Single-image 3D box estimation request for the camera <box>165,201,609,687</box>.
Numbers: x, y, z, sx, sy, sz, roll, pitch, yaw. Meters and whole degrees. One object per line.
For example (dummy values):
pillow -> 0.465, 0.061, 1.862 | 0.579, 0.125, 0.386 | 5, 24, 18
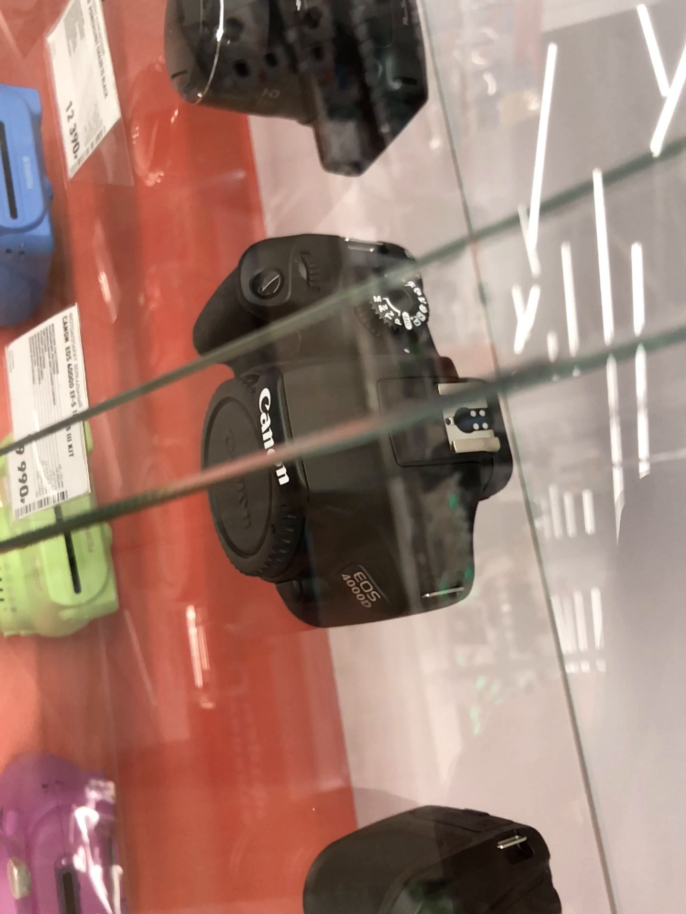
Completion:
camera -> 0.009, -0.001, 0.266 | 0.100, 0.083, 0.135 | -6, 78, -30
